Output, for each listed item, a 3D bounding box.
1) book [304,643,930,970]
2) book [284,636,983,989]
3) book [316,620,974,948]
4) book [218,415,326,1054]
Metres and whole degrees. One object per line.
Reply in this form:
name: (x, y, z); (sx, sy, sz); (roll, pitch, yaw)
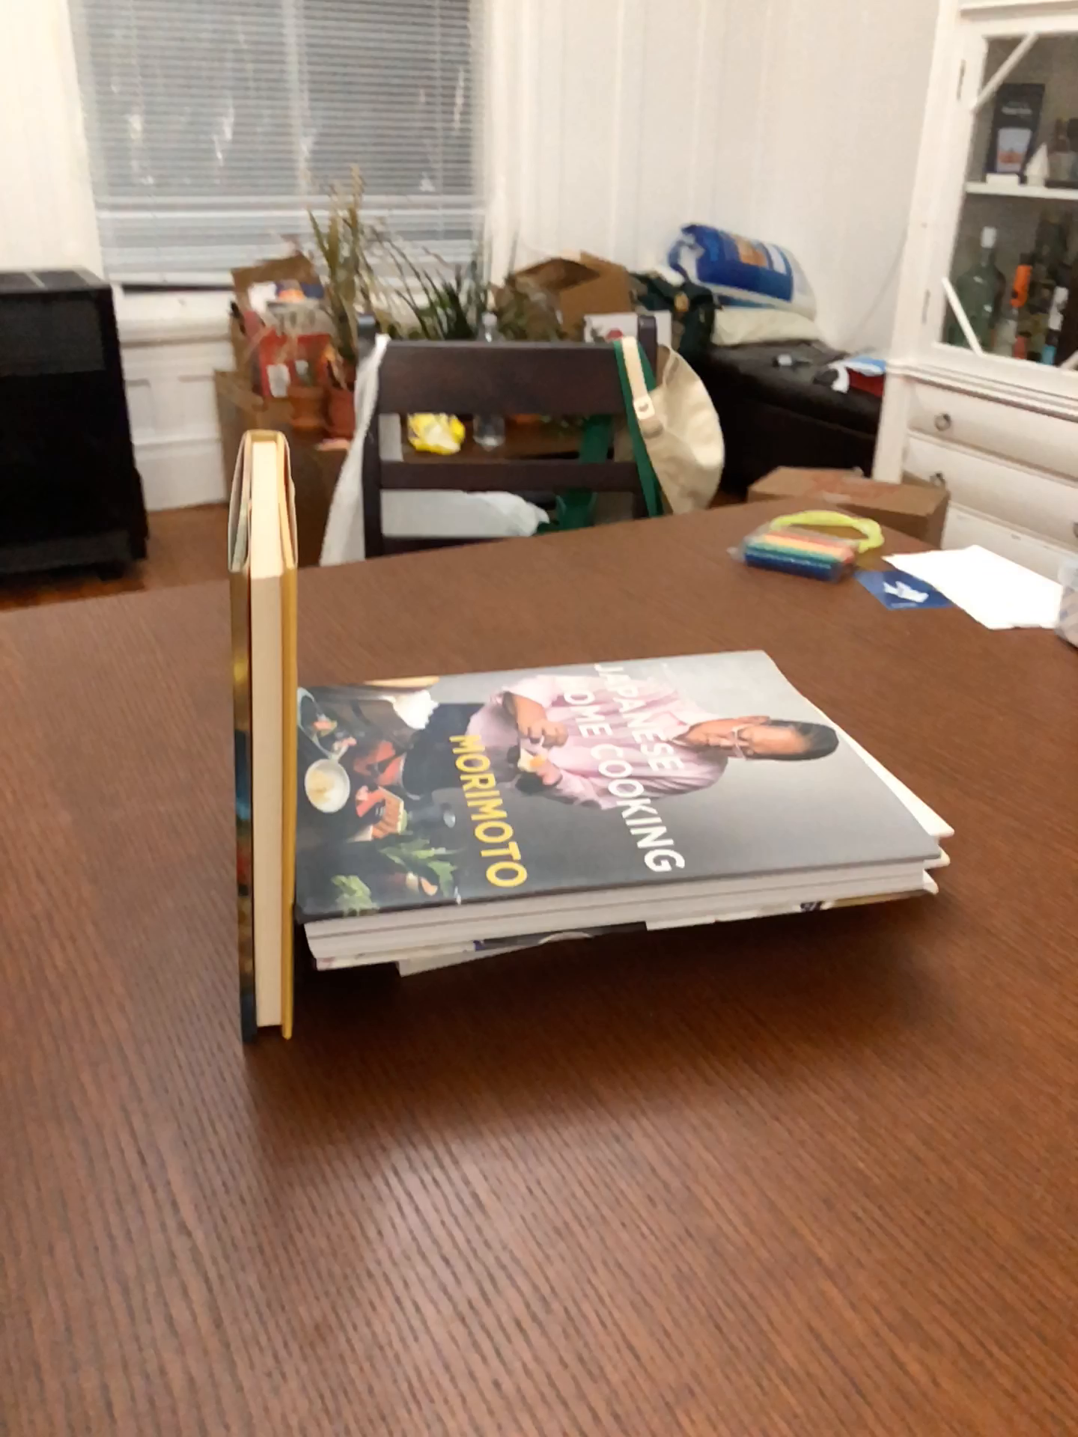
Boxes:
book: (0.030, 0.031, 0.660); (0.280, 0.030, 0.221); (-10, 28, -18)
book: (0.025, 0.028, 0.569); (0.280, 0.030, 0.221); (-6, 27, -11)
book: (0.040, 0.017, 0.626); (0.280, 0.030, 0.221); (-8, 27, -16)
book: (-0.115, -0.006, 0.529); (0.030, 0.209, 0.211); (-2, 27, -11)
